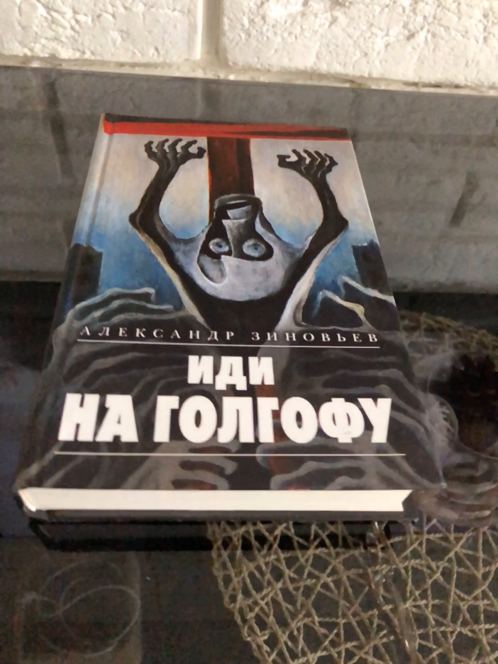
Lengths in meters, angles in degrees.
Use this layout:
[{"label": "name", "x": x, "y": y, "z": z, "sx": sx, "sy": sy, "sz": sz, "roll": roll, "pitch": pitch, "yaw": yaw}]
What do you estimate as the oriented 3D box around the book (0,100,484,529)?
[{"label": "book", "x": -0.006, "y": -0.026, "z": 0.227, "sx": 0.140, "sy": 0.030, "sz": 0.201, "roll": 2, "pitch": 50, "yaw": -4}]
